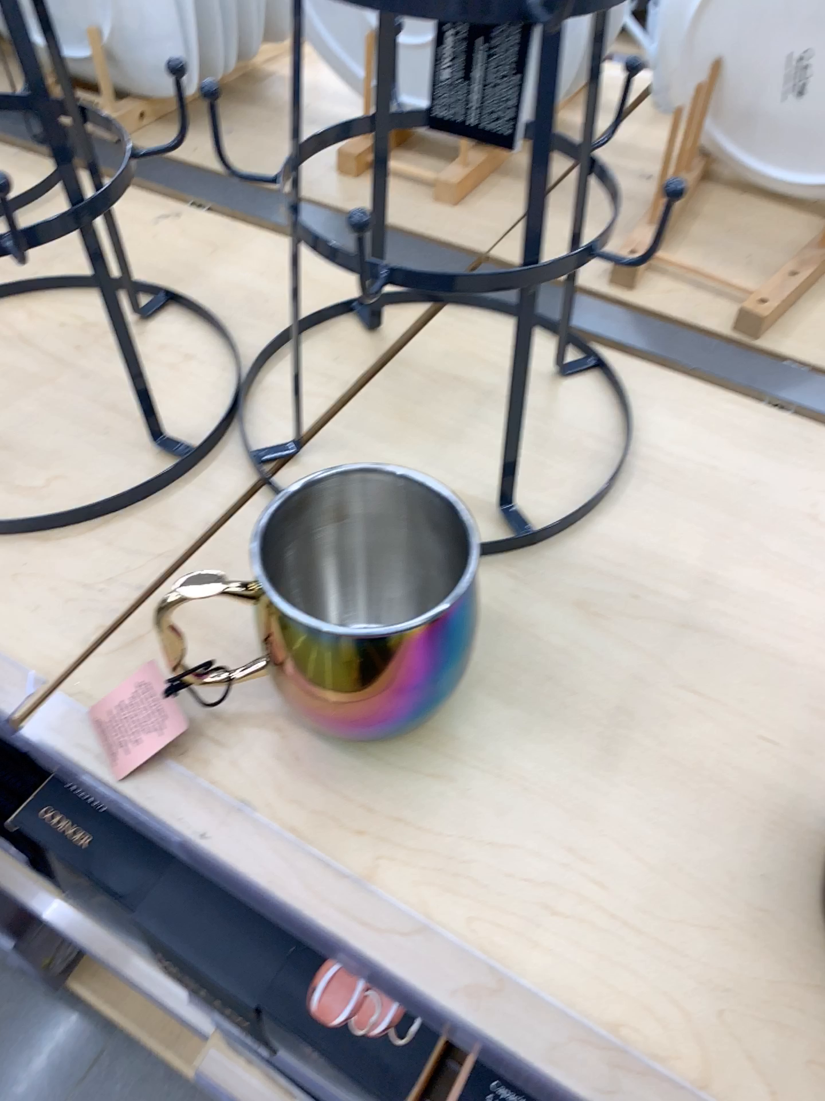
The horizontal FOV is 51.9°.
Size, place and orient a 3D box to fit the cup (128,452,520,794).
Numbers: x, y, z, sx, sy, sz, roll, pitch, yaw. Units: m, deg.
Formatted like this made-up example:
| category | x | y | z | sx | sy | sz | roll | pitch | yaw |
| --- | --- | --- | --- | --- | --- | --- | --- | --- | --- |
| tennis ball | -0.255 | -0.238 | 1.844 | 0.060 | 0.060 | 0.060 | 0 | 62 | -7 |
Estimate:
| category | x | y | z | sx | sy | sz | roll | pitch | yaw |
| --- | --- | --- | --- | --- | --- | --- | --- | --- | --- |
| cup | -0.036 | 0.029 | 0.342 | 0.130 | 0.089 | 0.085 | -8 | 51 | -7 |
